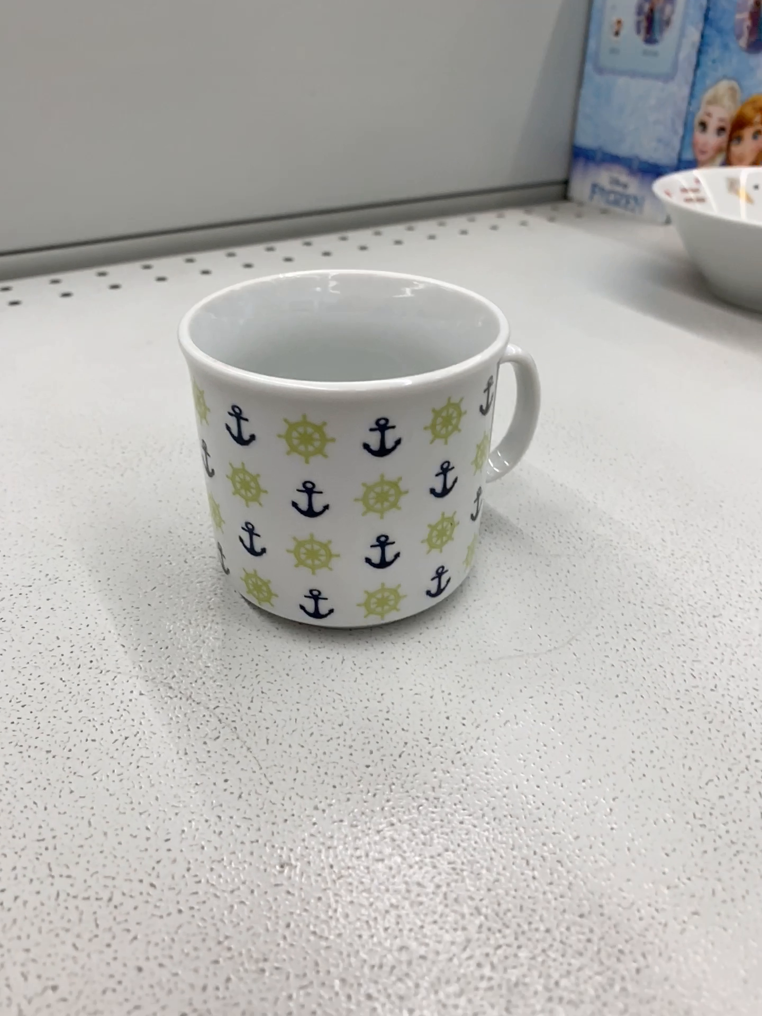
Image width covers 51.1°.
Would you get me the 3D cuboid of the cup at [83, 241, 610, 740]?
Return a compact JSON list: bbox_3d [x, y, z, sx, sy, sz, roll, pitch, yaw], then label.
[{"bbox_3d":[-0.006,-0.015,0.207,0.078,0.076,0.096,27,42,37],"label":"cup"}]
